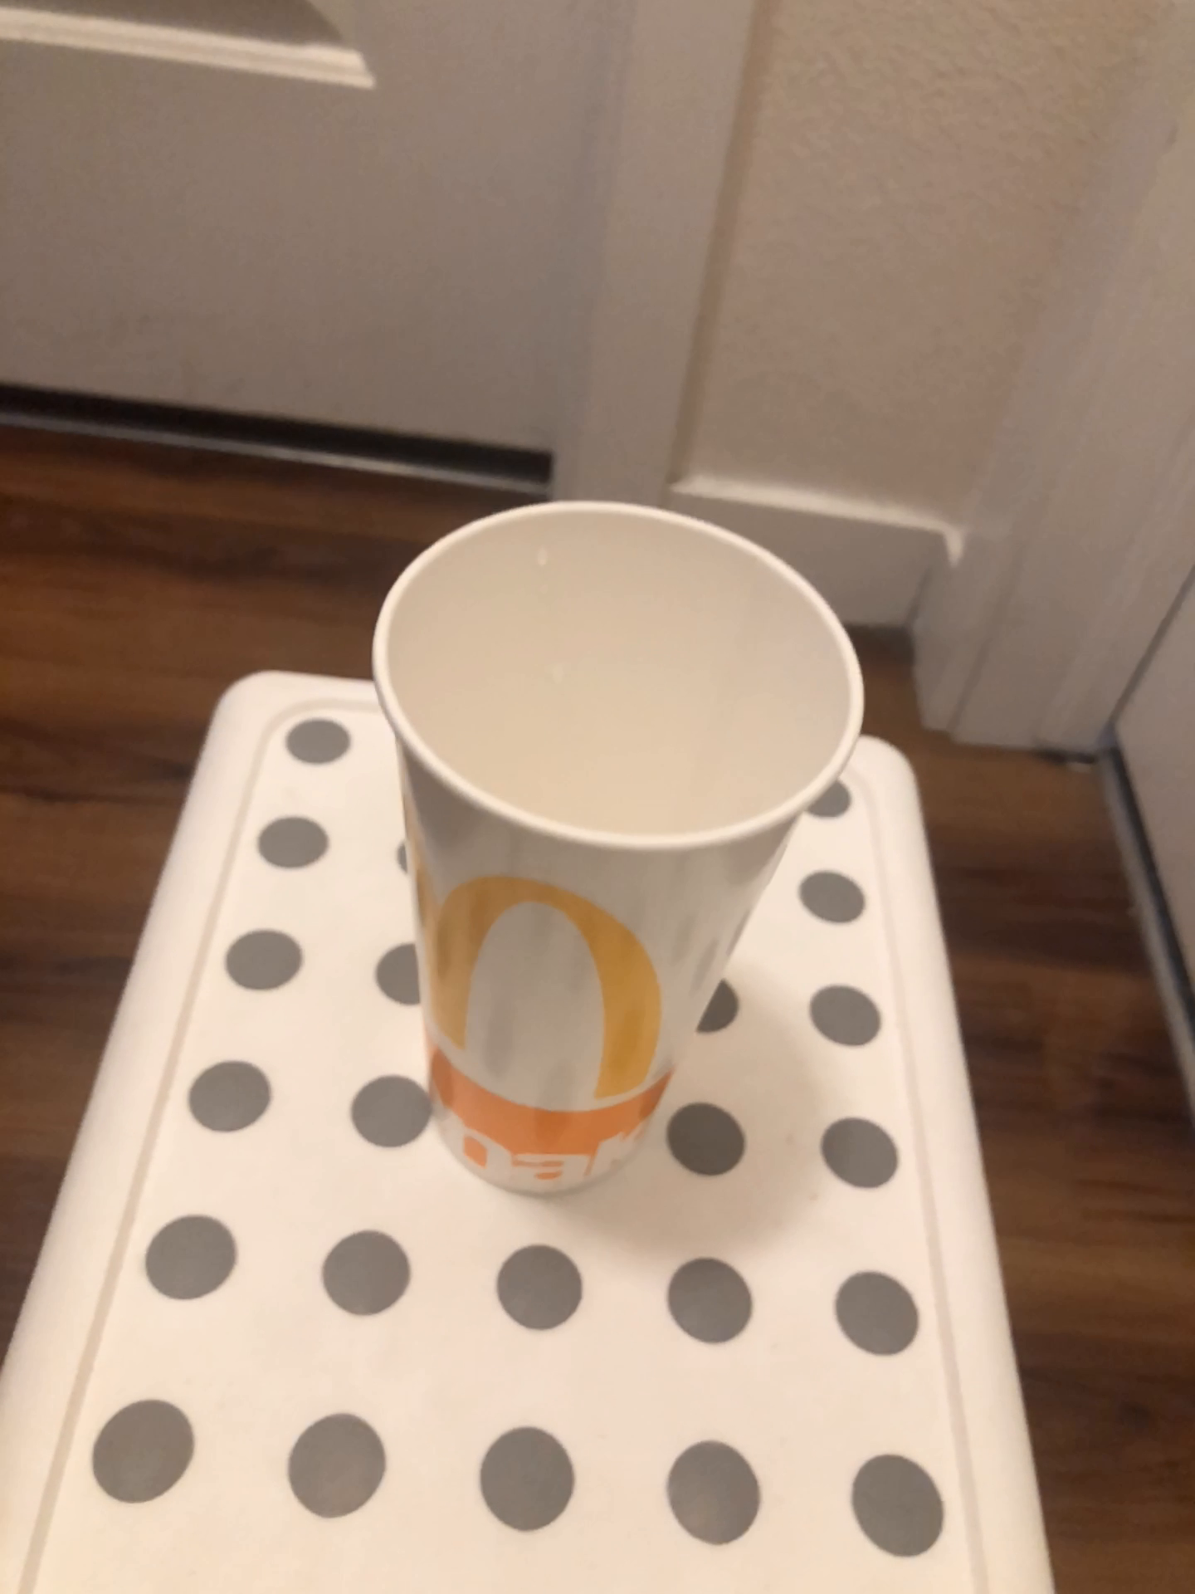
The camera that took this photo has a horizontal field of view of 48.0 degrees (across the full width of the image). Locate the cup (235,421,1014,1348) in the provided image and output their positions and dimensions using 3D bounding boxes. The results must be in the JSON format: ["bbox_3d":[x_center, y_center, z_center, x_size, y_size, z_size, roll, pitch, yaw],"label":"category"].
[{"bbox_3d":[-0.004,0.023,0.294,0.099,0.154,0.100,4,48,-4],"label":"cup"}]
